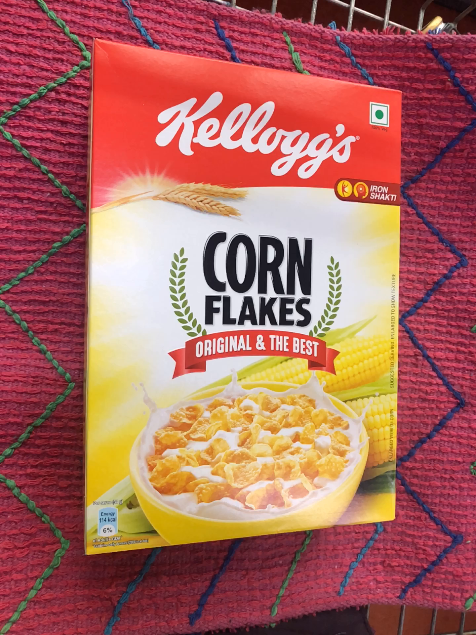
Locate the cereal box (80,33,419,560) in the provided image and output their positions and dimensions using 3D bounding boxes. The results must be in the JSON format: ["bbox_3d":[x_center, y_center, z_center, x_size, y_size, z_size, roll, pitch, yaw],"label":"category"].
[{"bbox_3d":[0.004,-0.009,0.322,0.190,0.070,0.260,1,91,-17],"label":"cereal box"}]
